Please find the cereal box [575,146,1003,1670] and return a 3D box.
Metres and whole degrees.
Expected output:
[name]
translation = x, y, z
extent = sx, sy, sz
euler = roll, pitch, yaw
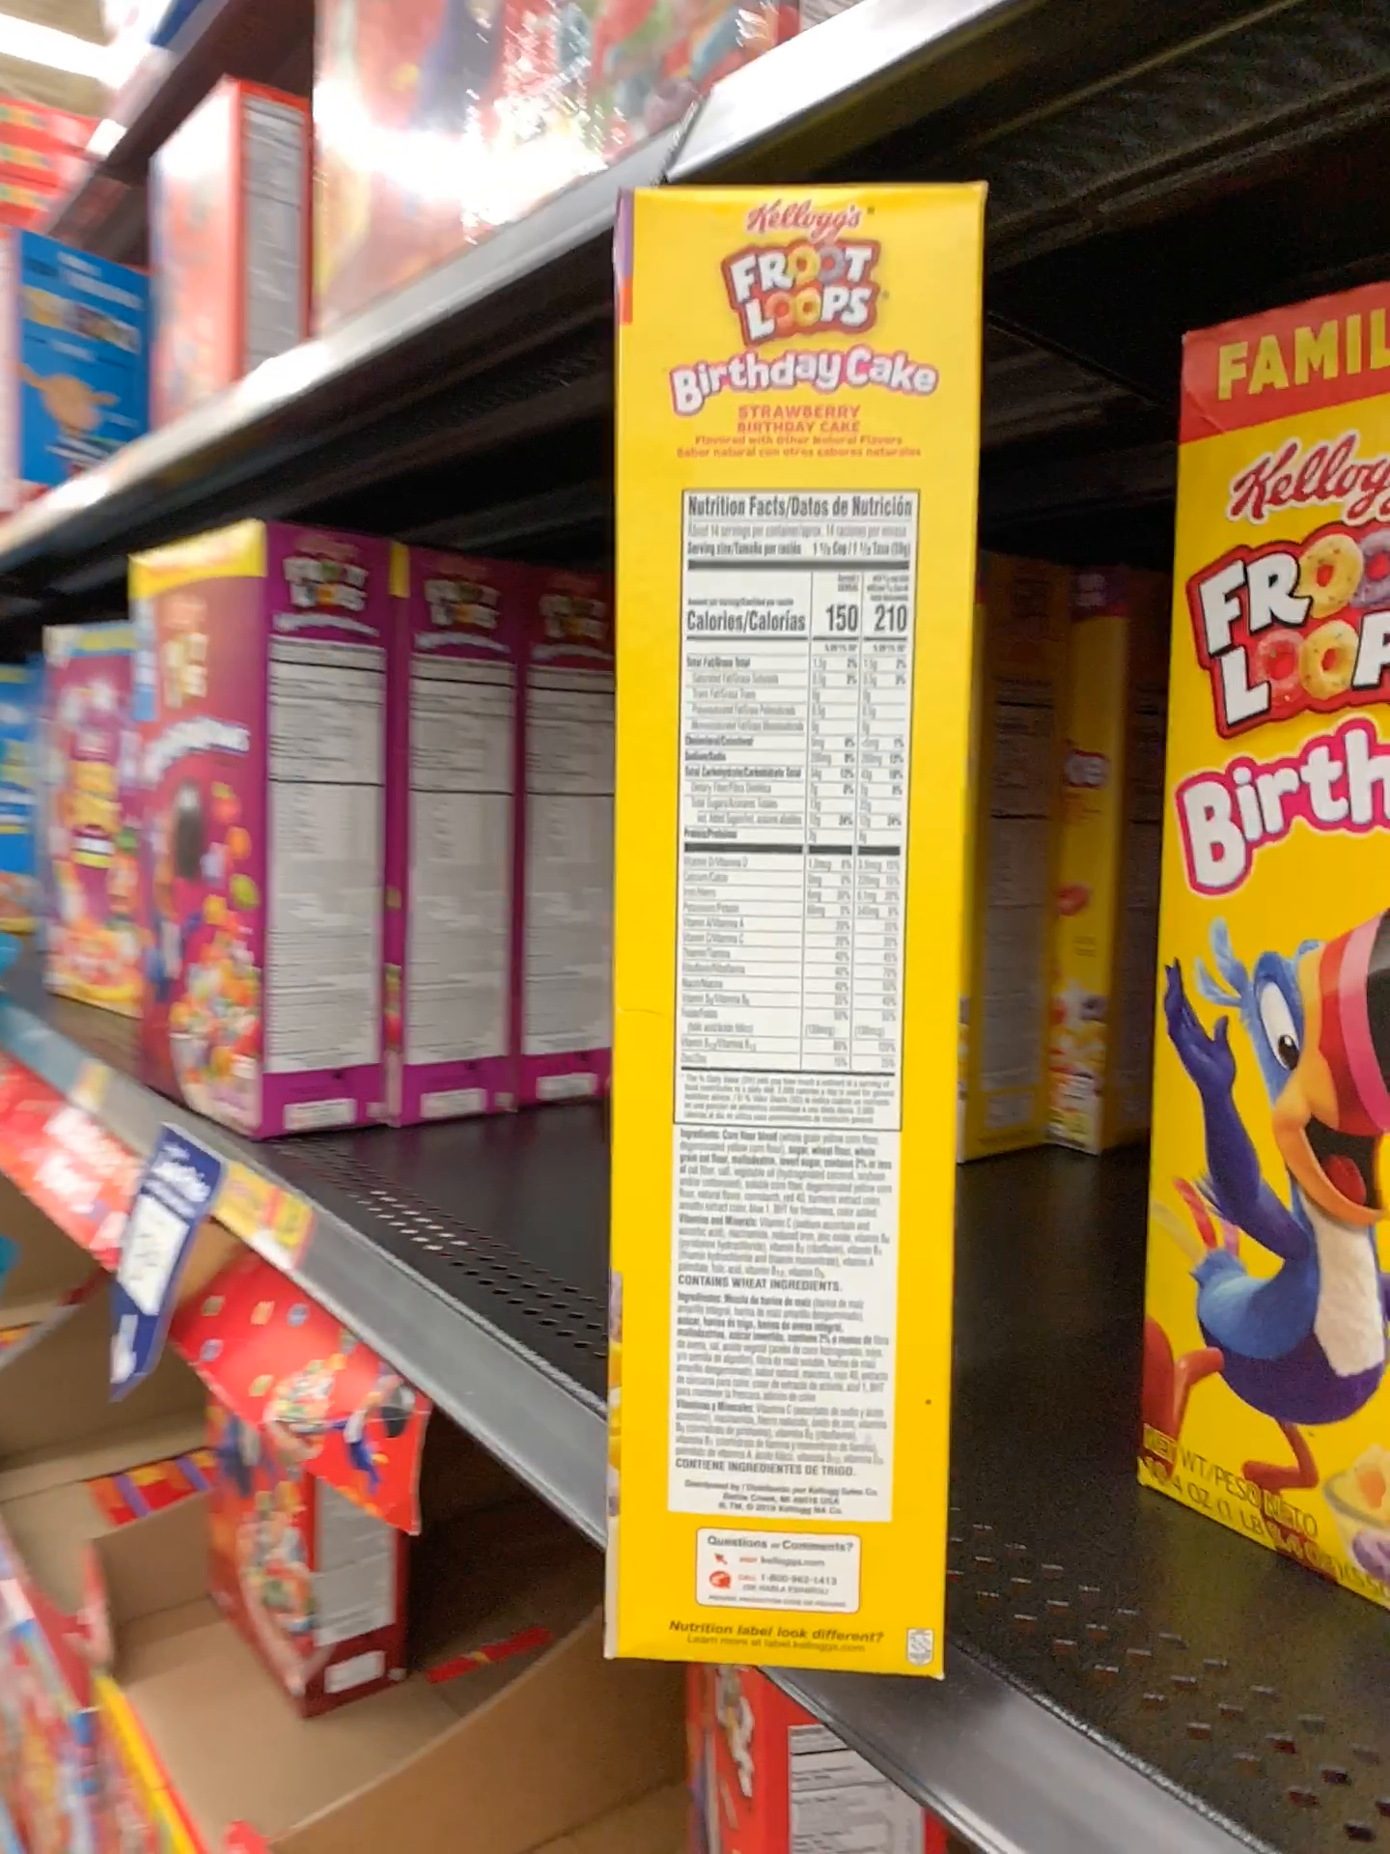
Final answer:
[cereal box]
translation = 0.022, -0.008, 0.410
extent = 0.080, 0.330, 0.200
euler = 2, 6, 2
